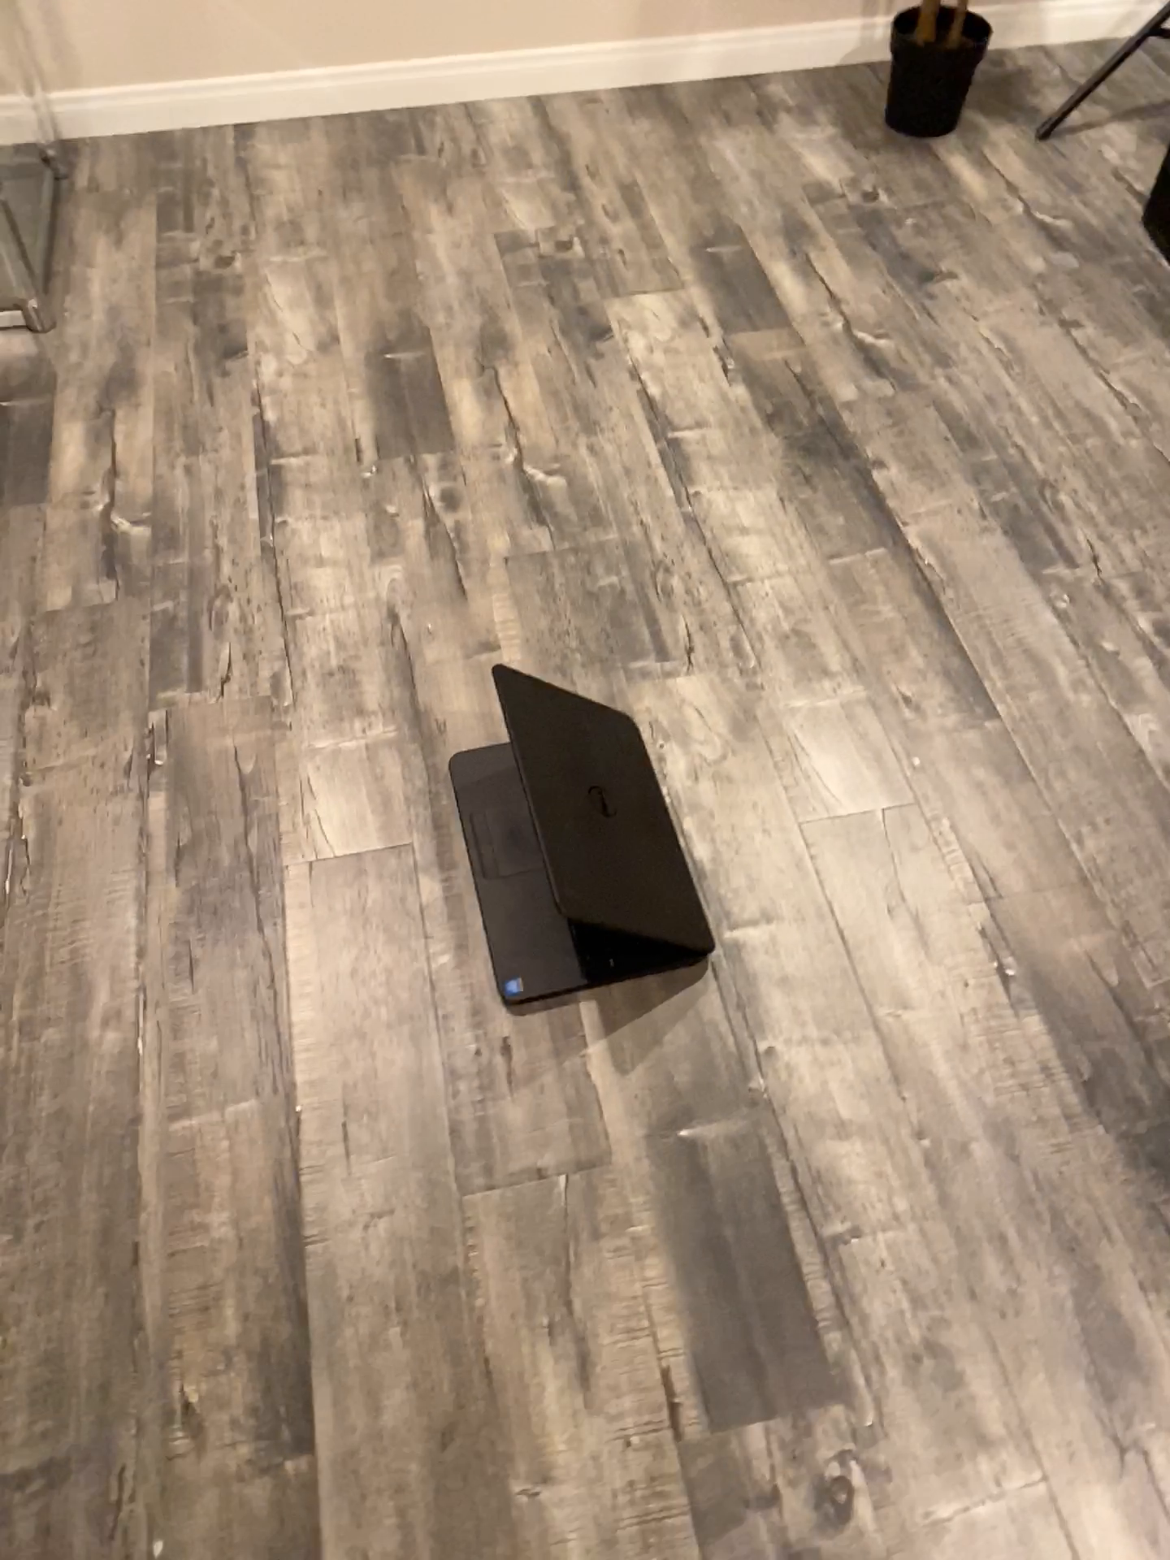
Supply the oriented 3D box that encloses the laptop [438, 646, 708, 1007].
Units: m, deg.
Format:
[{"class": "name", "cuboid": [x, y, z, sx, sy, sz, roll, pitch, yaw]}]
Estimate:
[{"class": "laptop", "cuboid": [-0.023, 0.046, 1.408, 0.230, 0.170, 0.354, -10, 55, -10]}]
